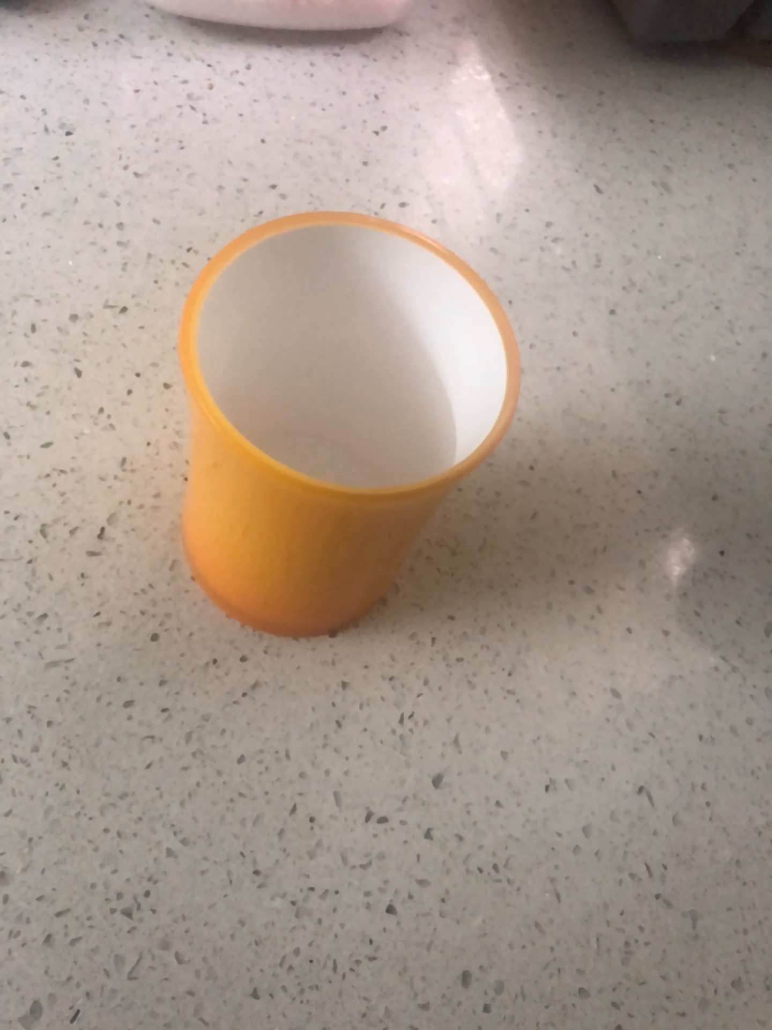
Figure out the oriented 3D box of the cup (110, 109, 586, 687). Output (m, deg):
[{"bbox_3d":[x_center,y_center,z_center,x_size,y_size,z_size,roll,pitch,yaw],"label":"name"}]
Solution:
[{"bbox_3d":[-0.014,-0.018,0.219,0.080,0.110,0.080,6,65,-12],"label":"cup"}]
